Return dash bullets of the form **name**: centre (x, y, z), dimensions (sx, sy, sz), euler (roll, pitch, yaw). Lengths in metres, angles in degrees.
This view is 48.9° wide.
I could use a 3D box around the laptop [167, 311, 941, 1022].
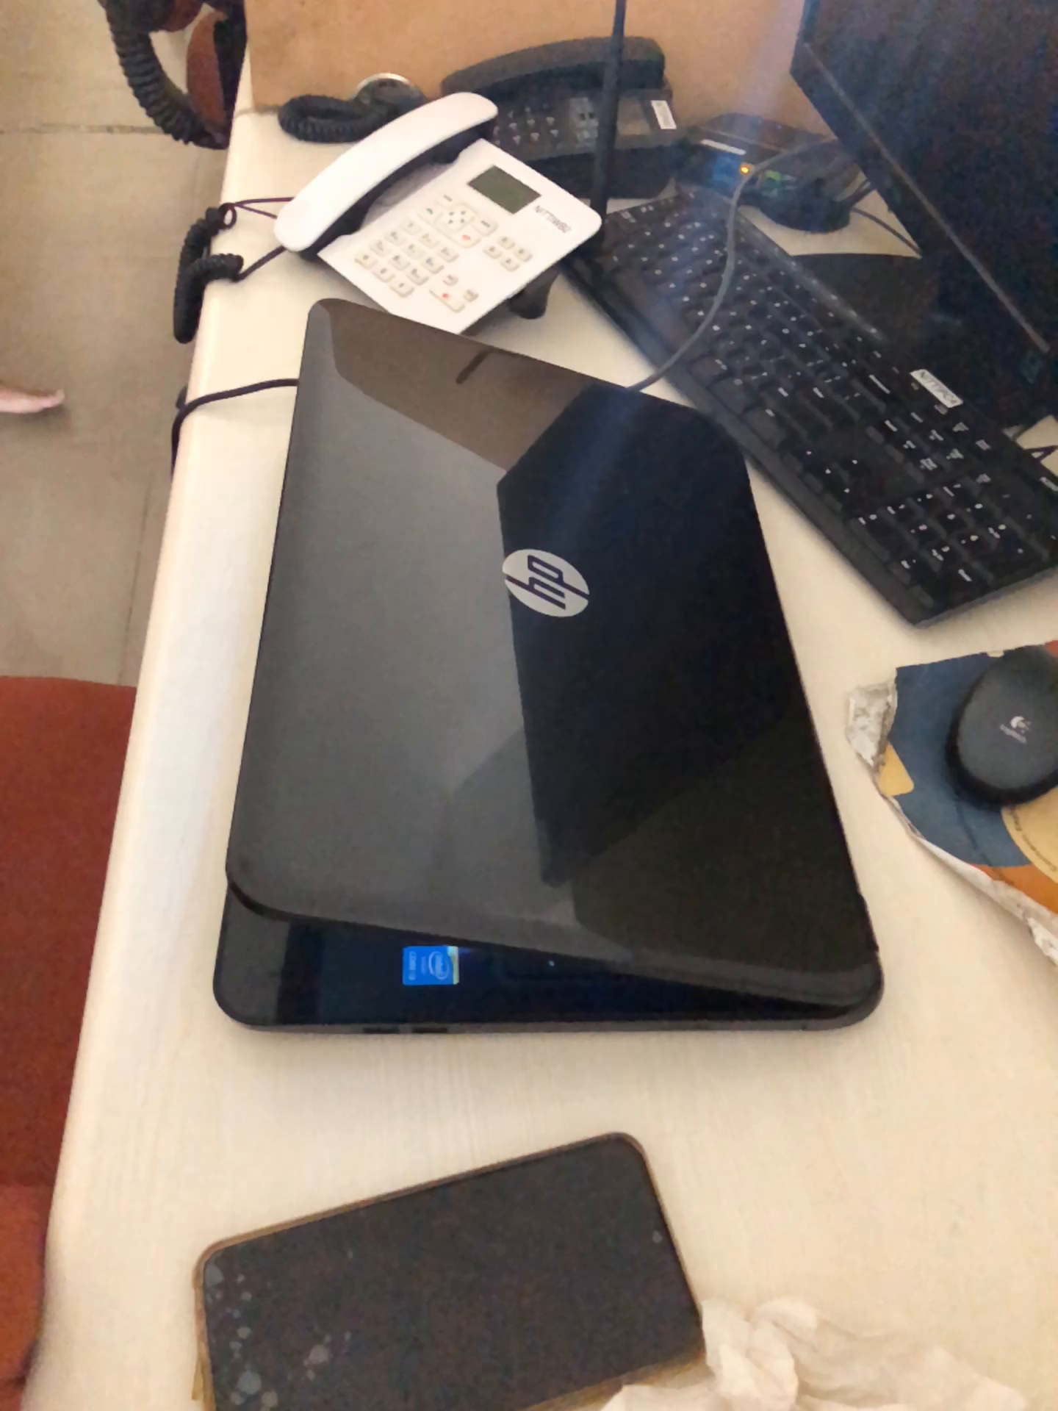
- **laptop**: centre (0.001, -0.042, 0.511), dimensions (0.245, 0.072, 0.352), euler (1, 48, -4)
